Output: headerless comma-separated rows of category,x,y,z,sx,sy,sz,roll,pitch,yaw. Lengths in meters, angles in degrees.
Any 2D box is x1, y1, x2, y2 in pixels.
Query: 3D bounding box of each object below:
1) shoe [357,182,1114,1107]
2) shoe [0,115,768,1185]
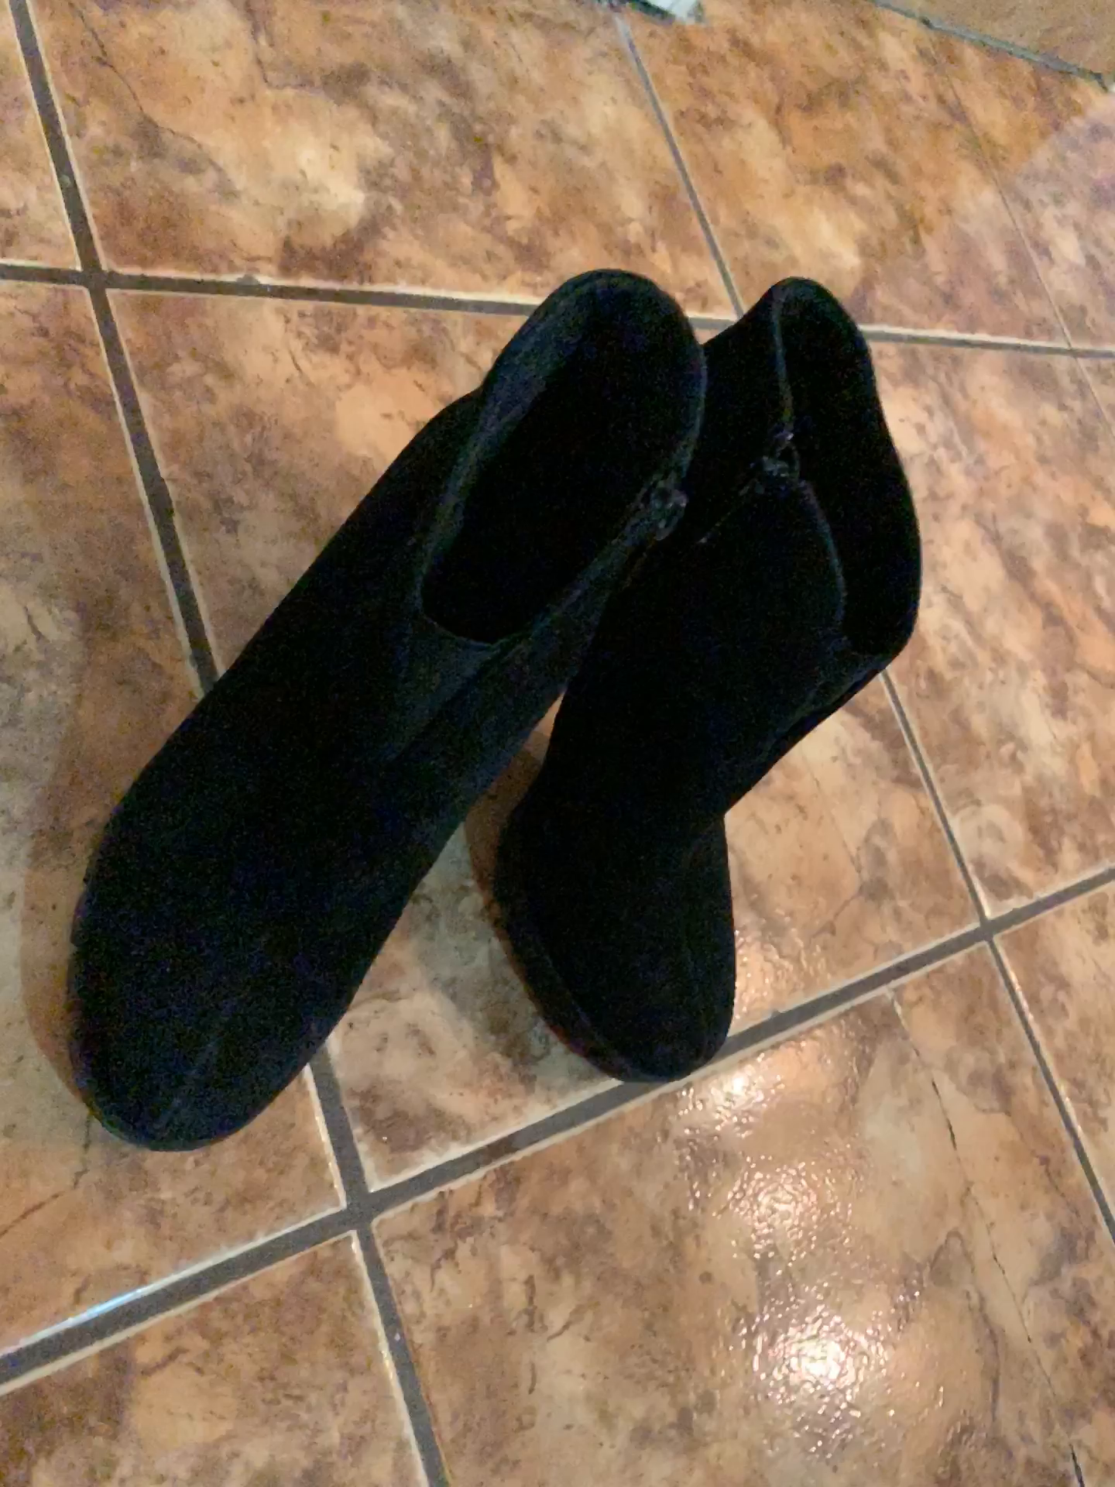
shoe,0.038,-0.018,0.377,0.094,0.180,0.229,-8,74,-34
shoe,-0.055,-0.014,0.317,0.094,0.180,0.230,30,57,-18
